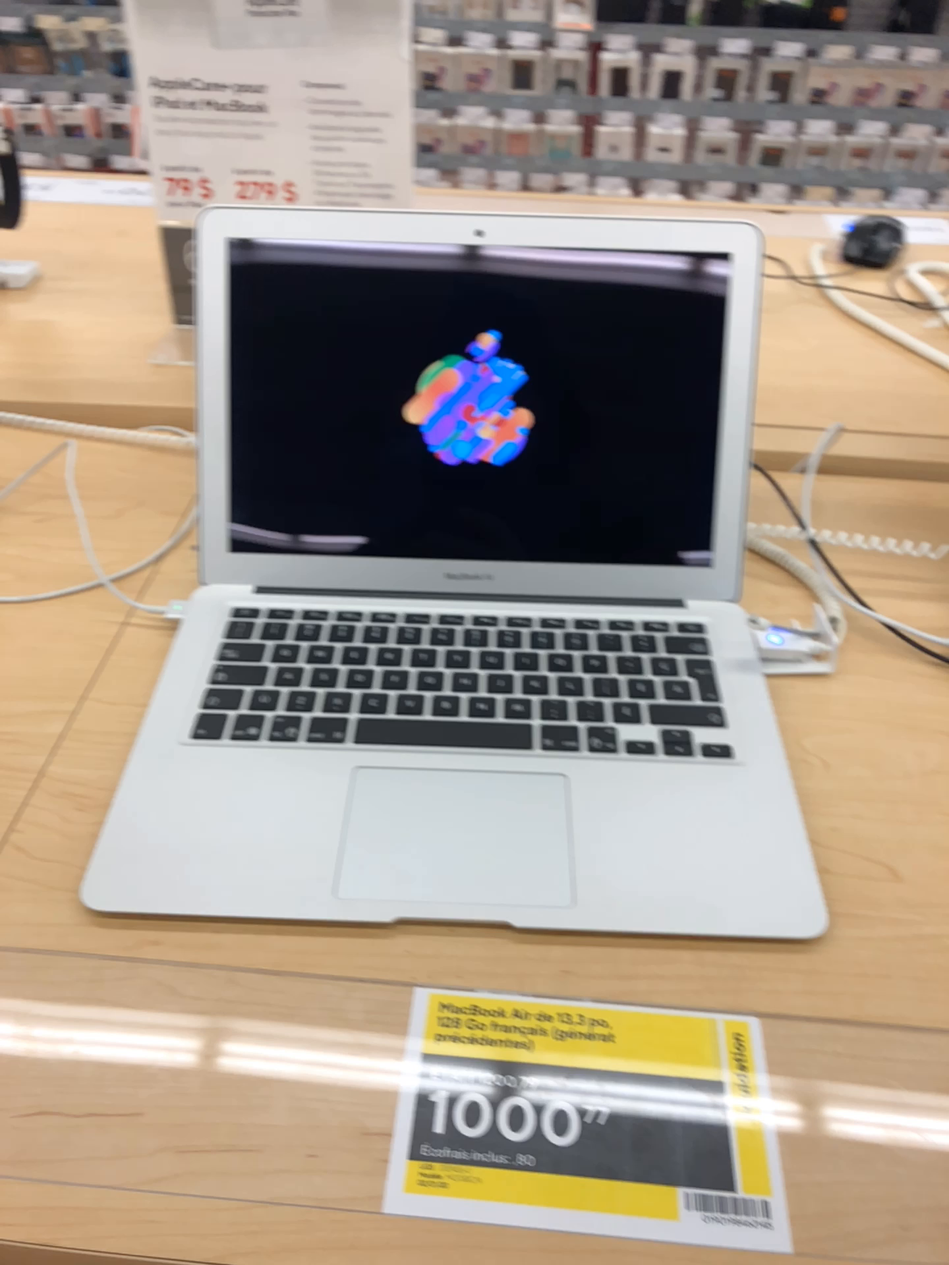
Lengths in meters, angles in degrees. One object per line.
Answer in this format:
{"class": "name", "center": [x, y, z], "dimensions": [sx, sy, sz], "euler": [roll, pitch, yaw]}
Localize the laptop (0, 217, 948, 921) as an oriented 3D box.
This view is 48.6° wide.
{"class": "laptop", "center": [-0.004, -0.053, 0.508], "dimensions": [0.305, 0.186, 0.326], "euler": [2, 37, -1]}
